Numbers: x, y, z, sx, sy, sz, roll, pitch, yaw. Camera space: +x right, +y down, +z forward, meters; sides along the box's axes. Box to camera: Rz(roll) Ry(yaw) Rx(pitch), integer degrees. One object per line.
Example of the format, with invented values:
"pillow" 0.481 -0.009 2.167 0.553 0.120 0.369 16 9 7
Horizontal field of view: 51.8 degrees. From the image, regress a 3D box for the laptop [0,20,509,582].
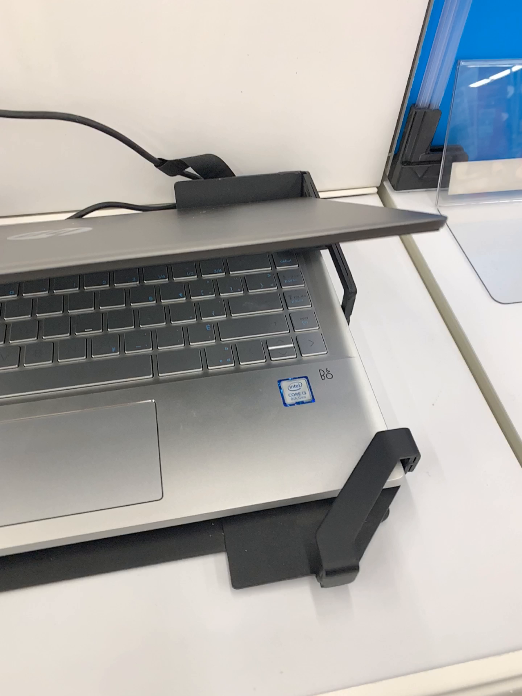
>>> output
"laptop" -0.092 -0.035 0.238 0.283 0.111 0.194 -7 53 -6
